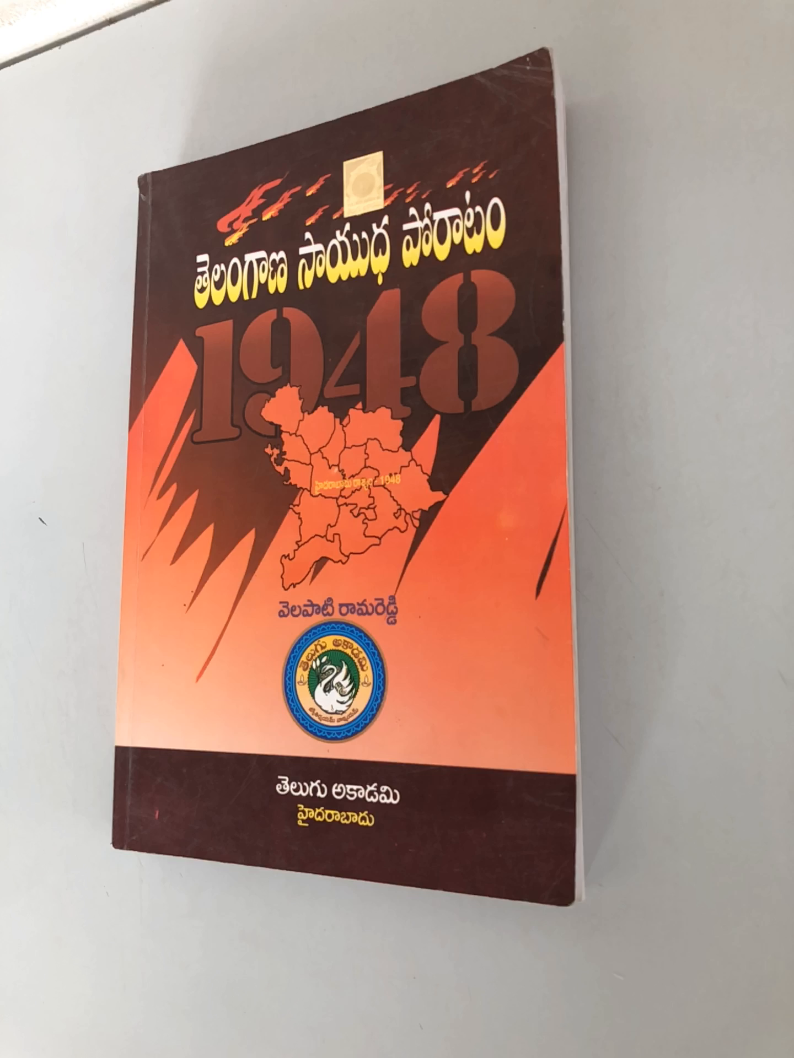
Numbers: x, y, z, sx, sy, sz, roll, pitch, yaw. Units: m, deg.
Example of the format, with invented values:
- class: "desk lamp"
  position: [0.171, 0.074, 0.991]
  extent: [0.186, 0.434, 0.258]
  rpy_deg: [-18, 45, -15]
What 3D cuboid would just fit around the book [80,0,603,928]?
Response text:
- class: "book"
  position: [-0.023, -0.024, 0.297]
  extent: [0.170, 0.030, 0.270]
  rpy_deg: [-3, 81, 24]
